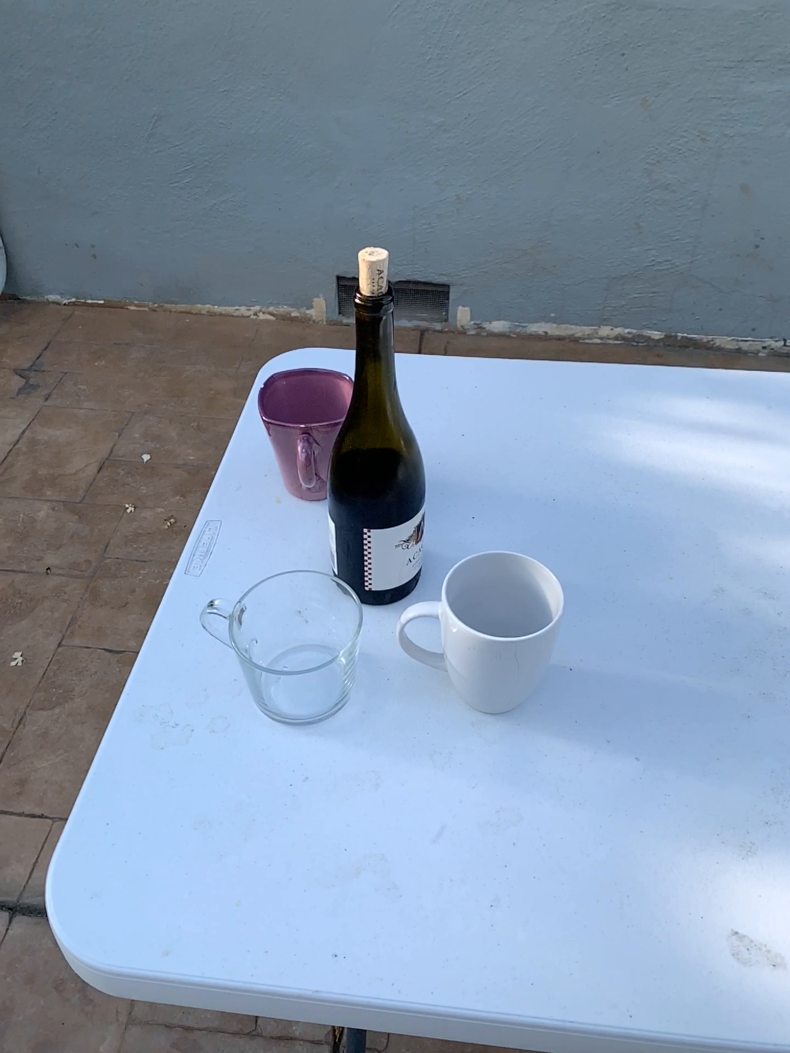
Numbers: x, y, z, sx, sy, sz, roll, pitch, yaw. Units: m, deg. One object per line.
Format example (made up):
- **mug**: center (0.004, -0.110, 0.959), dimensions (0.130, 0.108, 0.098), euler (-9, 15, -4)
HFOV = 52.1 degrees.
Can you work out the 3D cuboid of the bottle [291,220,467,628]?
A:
- **bottle**: center (-0.011, -0.068, 0.661), dimensions (0.087, 0.318, 0.087), euler (0, 42, 0)
